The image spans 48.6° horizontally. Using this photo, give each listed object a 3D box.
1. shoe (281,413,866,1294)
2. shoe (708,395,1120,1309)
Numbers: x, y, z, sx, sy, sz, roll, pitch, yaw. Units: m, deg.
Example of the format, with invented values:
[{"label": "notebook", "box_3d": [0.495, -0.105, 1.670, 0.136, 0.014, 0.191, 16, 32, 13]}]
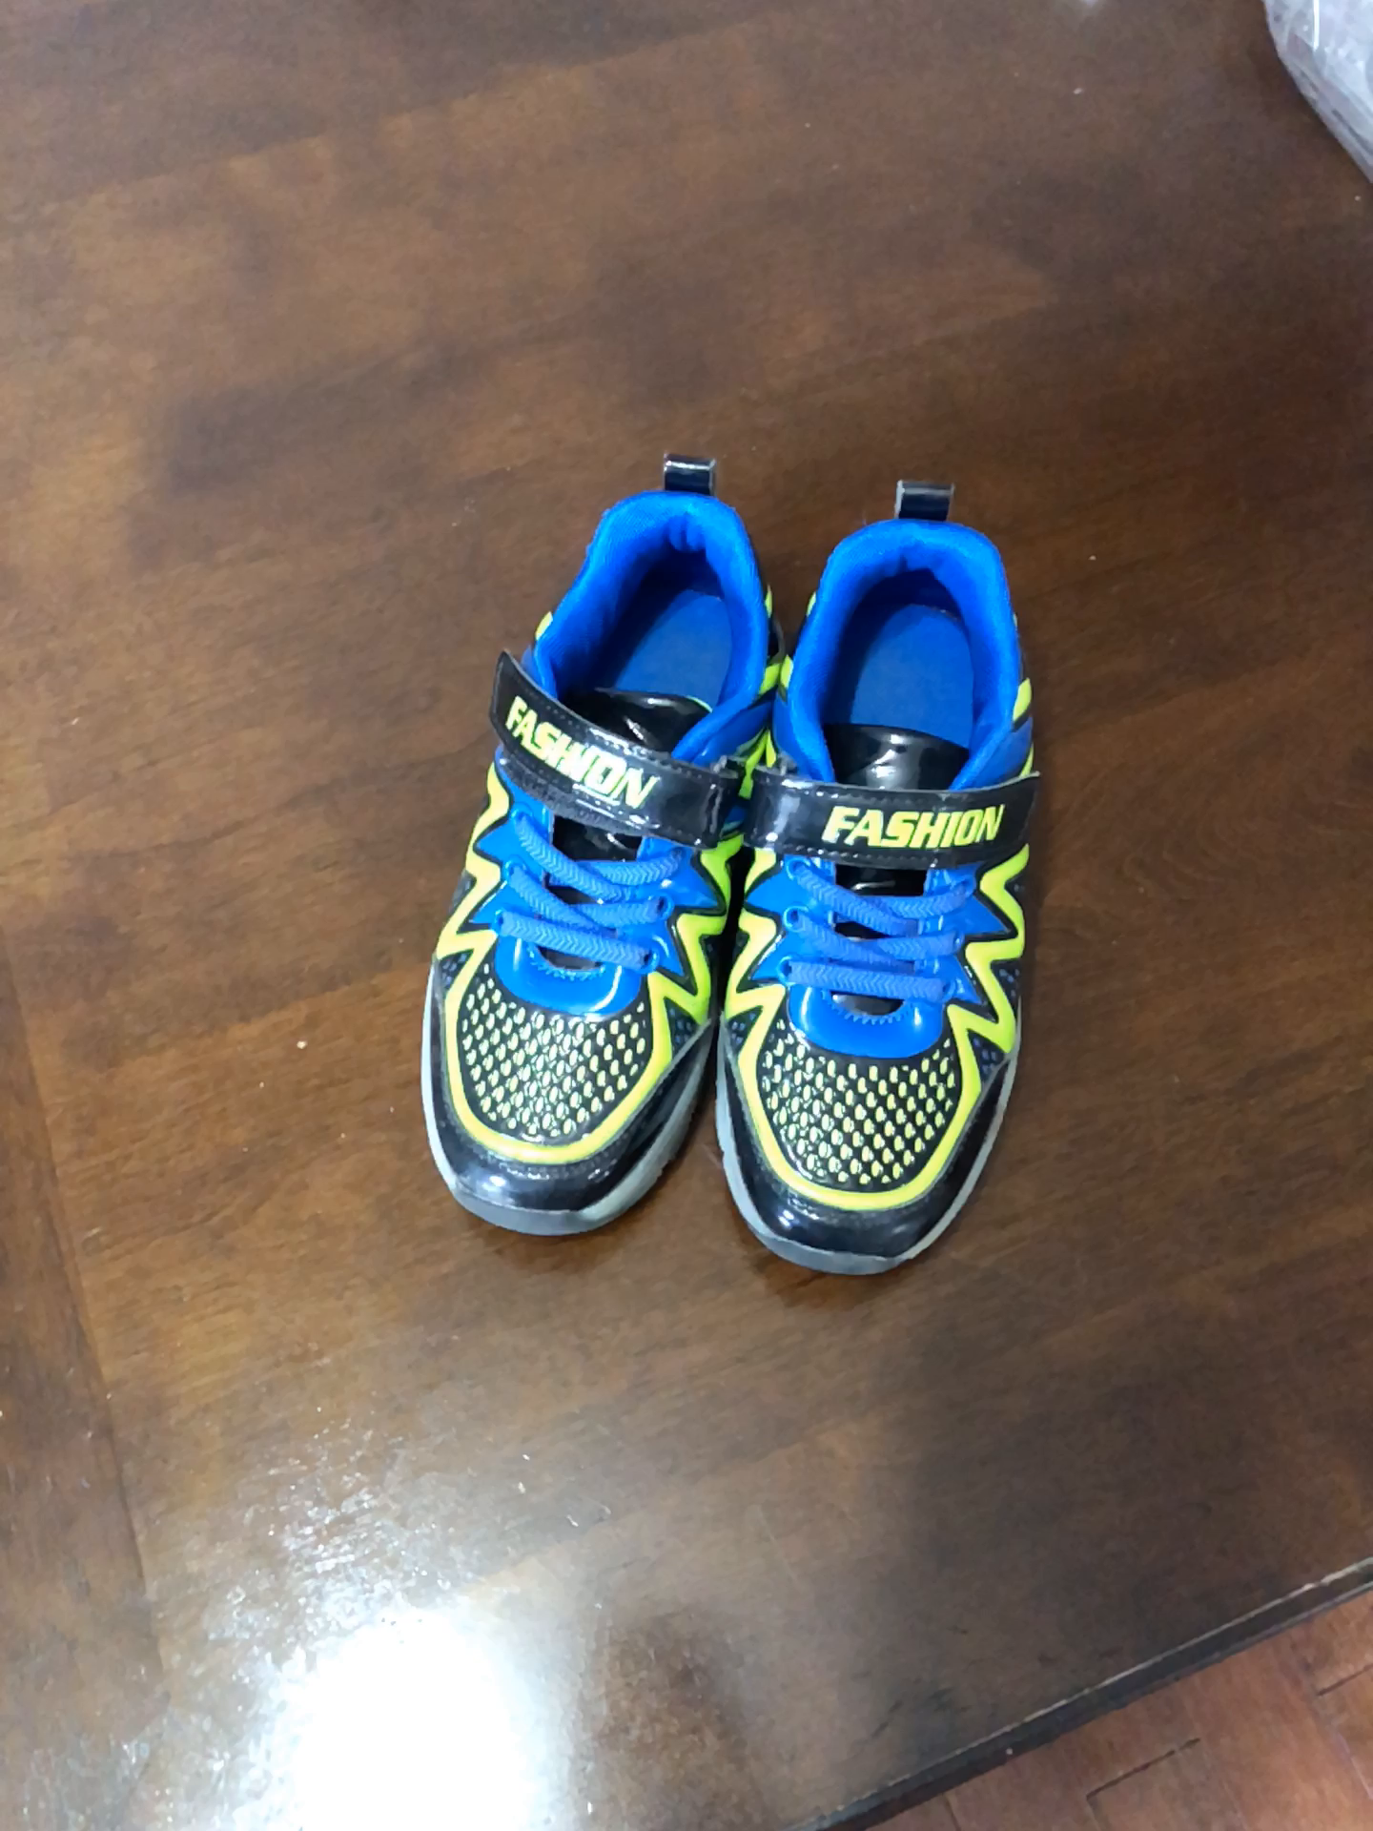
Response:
[{"label": "shoe", "box_3d": [-0.021, -0.016, 0.443, 0.100, 0.120, 0.210, 11, 66, 6]}, {"label": "shoe", "box_3d": [0.058, -0.017, 0.439, 0.090, 0.120, 0.230, 3, 65, 2]}]
